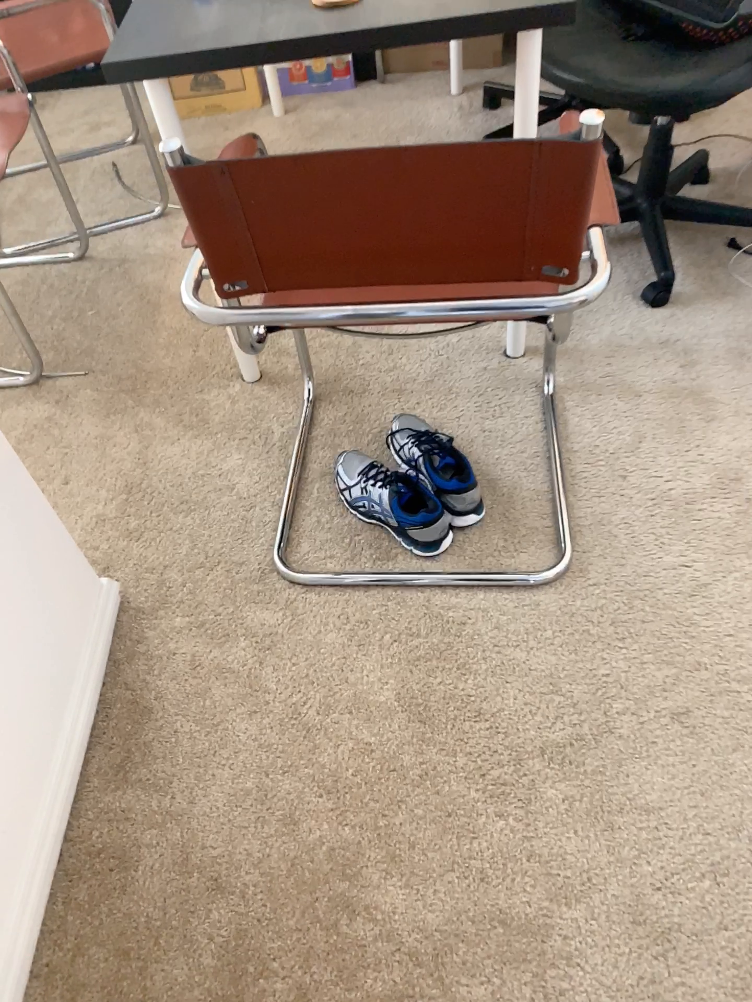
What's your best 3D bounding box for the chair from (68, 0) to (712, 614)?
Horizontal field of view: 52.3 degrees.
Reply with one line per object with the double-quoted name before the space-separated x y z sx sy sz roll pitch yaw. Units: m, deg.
"chair" 0.061 -0.304 1.237 0.620 0.806 0.623 0 50 7
